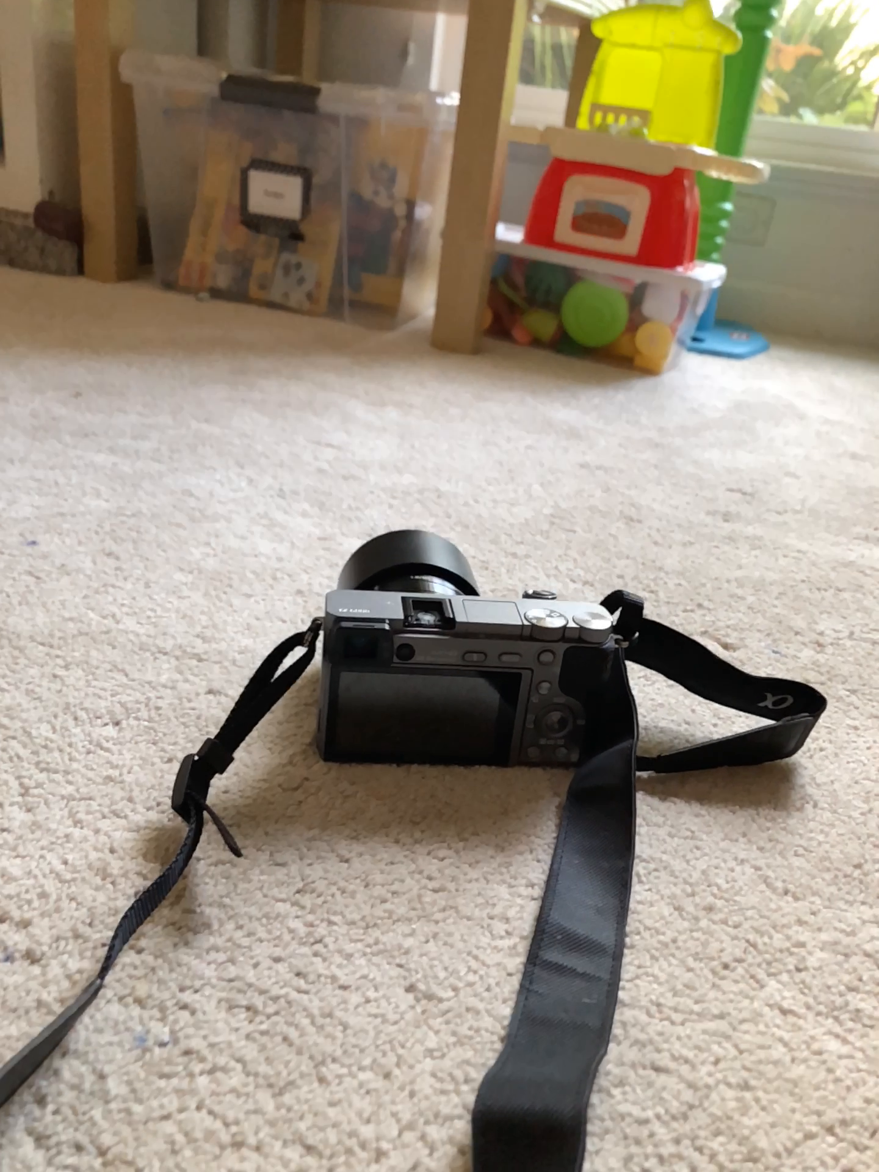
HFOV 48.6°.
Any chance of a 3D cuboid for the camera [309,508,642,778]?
[{"bbox_3d":[0.008,0.021,0.416,0.120,0.070,0.101,4,25,-8],"label":"camera"}]
